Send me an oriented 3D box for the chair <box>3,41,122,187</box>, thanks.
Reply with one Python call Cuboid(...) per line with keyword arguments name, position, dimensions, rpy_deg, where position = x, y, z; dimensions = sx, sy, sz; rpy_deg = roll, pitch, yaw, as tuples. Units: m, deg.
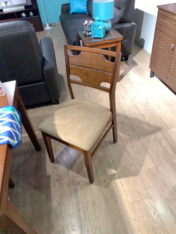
Cuboid(name="chair", position=(-0.093, -0.016, 1.313), dimensions=(0.471, 0.827, 0.531), rpy_deg=(19, 48, 26))
